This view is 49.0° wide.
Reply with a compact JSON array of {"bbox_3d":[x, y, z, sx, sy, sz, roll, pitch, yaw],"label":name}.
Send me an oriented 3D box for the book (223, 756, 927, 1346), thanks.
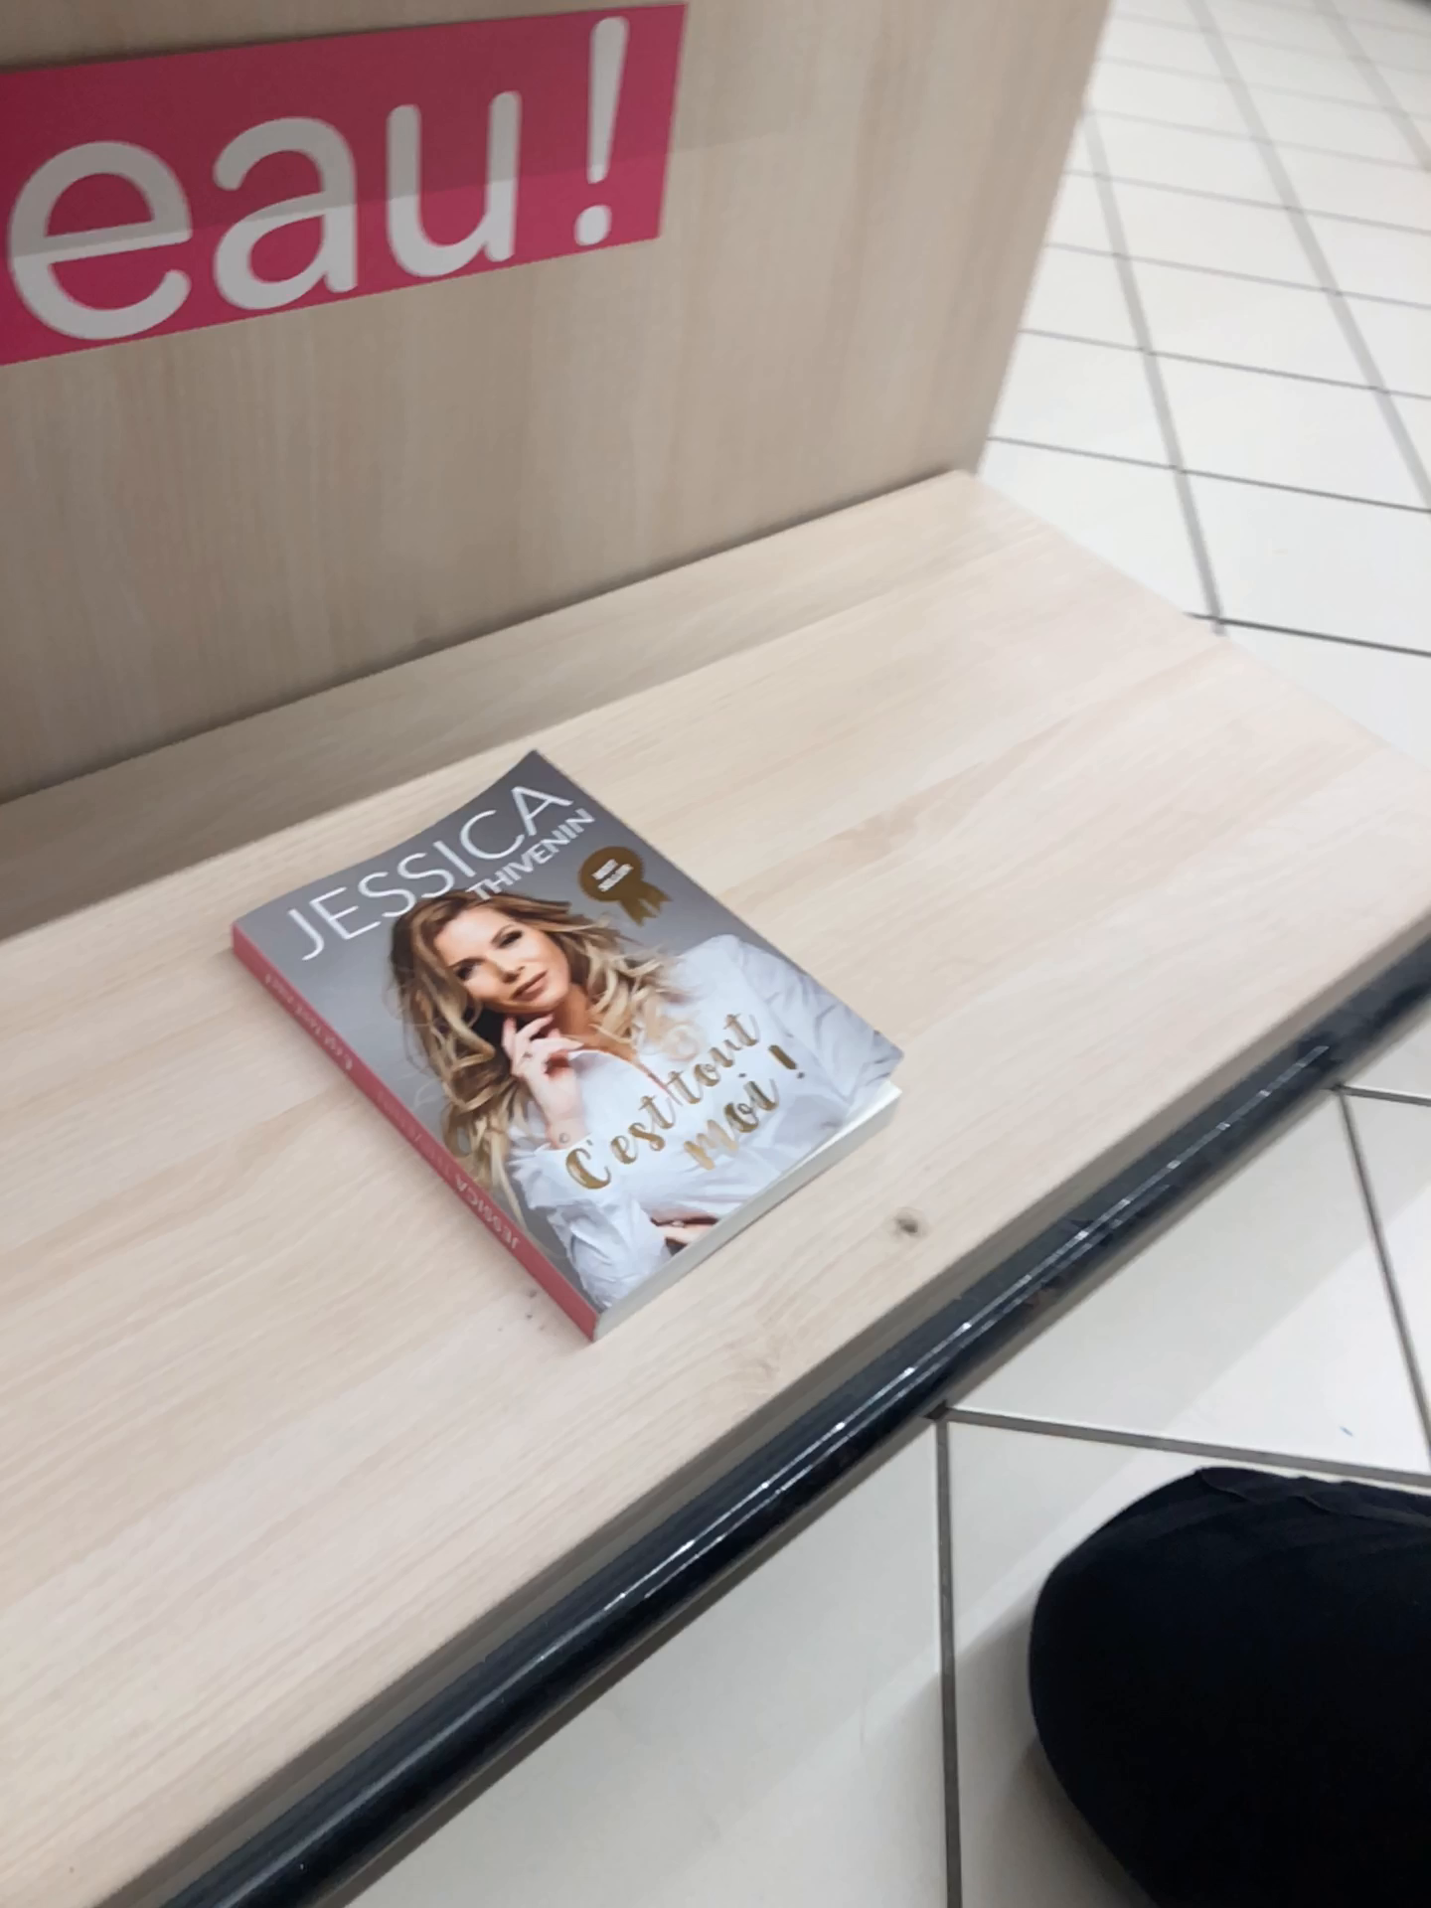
[{"bbox_3d":[-0.052,0.020,0.560,0.146,0.020,0.212,-30,58,-34],"label":"book"}]
